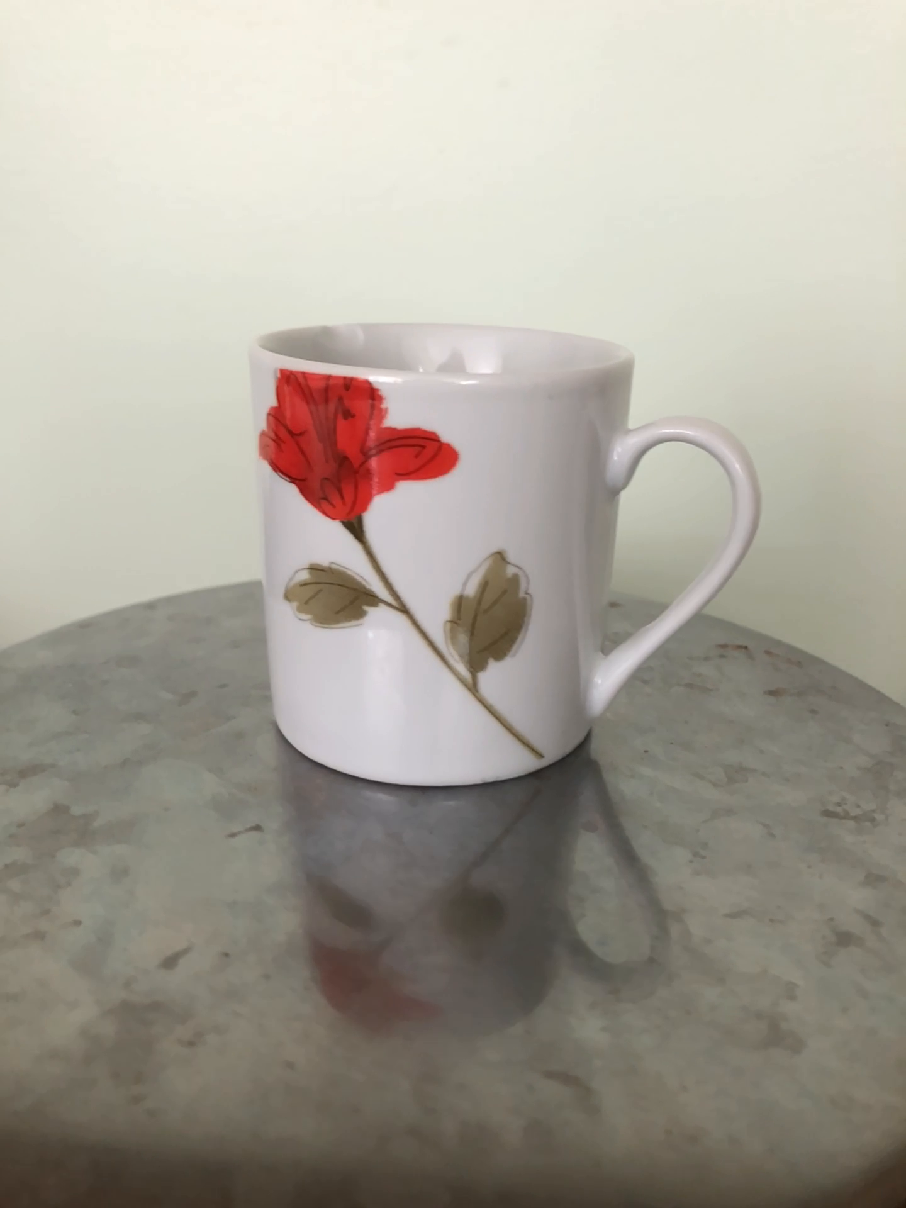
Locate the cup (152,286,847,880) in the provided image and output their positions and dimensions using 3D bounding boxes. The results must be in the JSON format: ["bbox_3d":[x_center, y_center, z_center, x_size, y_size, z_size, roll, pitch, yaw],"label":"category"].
[{"bbox_3d":[0.010,-0.011,0.150,0.080,0.060,0.060,9,22,17],"label":"cup"}]
